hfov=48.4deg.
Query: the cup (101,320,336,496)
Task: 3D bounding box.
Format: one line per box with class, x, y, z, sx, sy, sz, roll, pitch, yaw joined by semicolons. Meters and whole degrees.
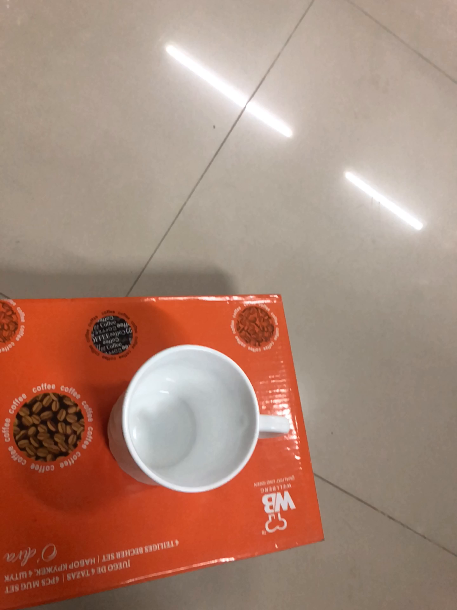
cup;-0.010;0.071;0.323;0.120;0.090;0.090;7;71;-19
